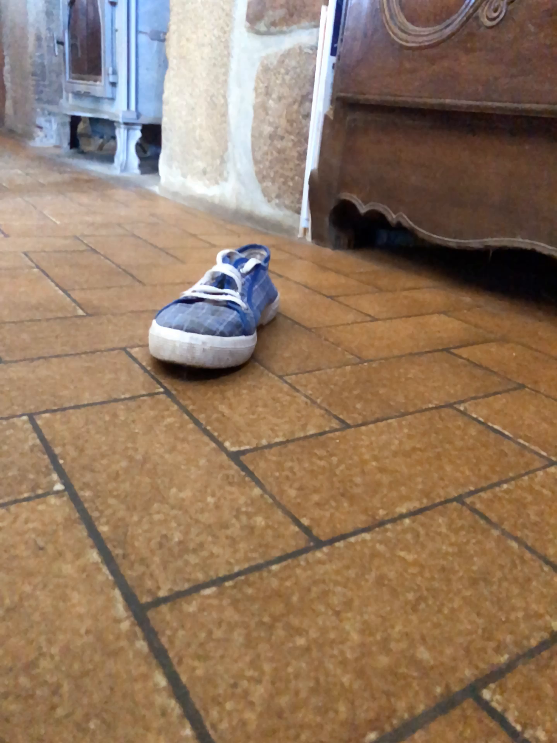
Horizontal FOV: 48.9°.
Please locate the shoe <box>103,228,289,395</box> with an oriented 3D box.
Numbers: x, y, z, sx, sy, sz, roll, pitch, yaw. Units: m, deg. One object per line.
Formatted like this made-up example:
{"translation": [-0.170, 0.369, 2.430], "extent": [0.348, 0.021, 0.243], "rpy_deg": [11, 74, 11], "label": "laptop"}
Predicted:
{"translation": [-0.062, -0.069, 0.565], "extent": [0.100, 0.080, 0.241], "rpy_deg": [9, 22, 7], "label": "shoe"}
